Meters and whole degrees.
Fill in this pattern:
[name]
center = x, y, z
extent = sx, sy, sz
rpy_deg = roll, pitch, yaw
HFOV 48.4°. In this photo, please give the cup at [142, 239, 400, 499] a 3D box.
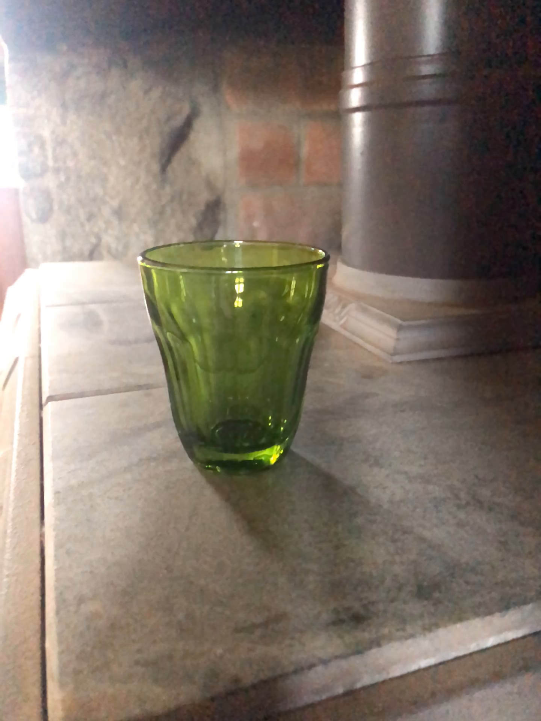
[cup]
center = -0.005, -0.005, 0.251
extent = 0.080, 0.080, 0.080
rpy_deg = 0, 18, 0
